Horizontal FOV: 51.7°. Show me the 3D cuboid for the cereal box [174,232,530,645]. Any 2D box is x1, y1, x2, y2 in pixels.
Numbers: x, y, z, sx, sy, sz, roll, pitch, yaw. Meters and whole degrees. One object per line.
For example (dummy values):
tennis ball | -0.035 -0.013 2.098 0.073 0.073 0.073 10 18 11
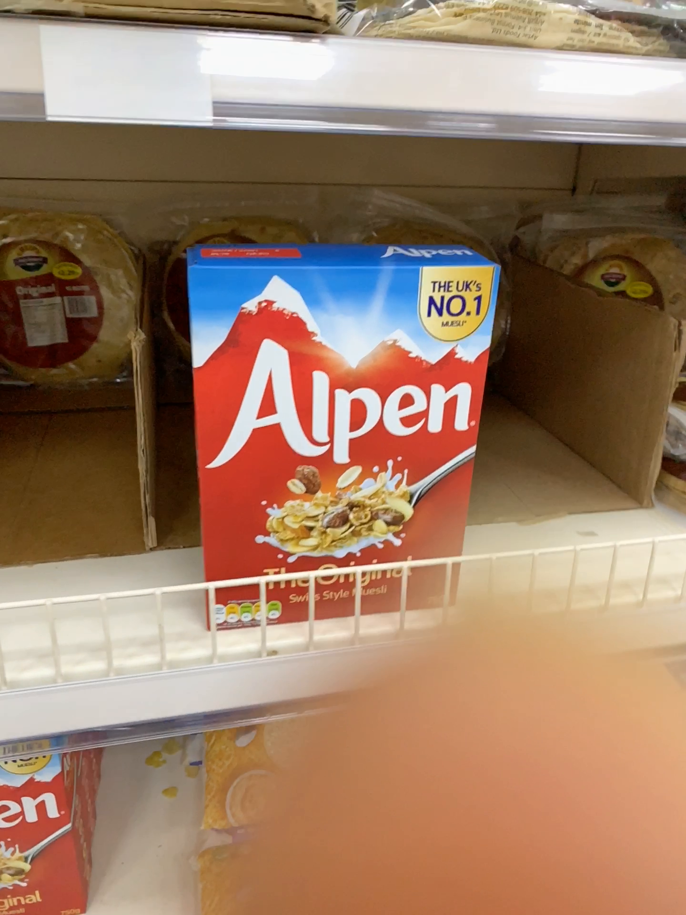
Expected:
cereal box | -0.001 -0.013 0.447 0.190 0.238 0.071 -4 24 -13
